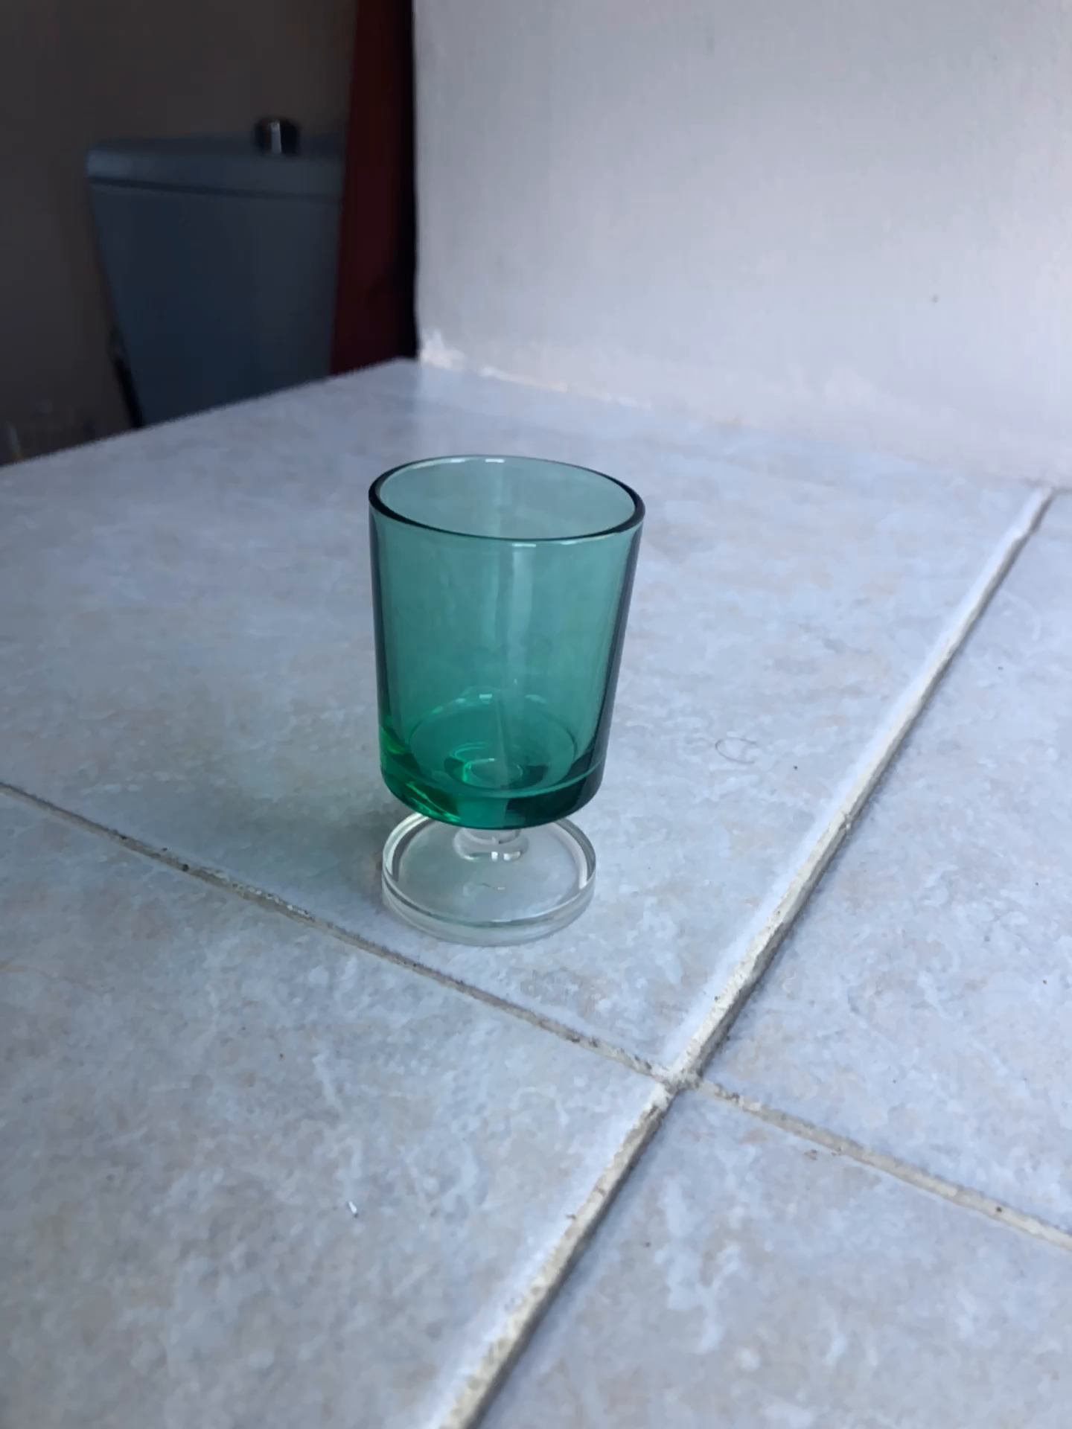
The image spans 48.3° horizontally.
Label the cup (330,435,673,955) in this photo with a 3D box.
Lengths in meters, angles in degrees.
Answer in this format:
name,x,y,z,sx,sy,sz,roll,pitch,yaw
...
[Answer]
name,x,y,z,sx,sy,sz,roll,pitch,yaw
cup,-0.008,-0.005,0.191,0.044,0.068,0.045,1,26,-1
